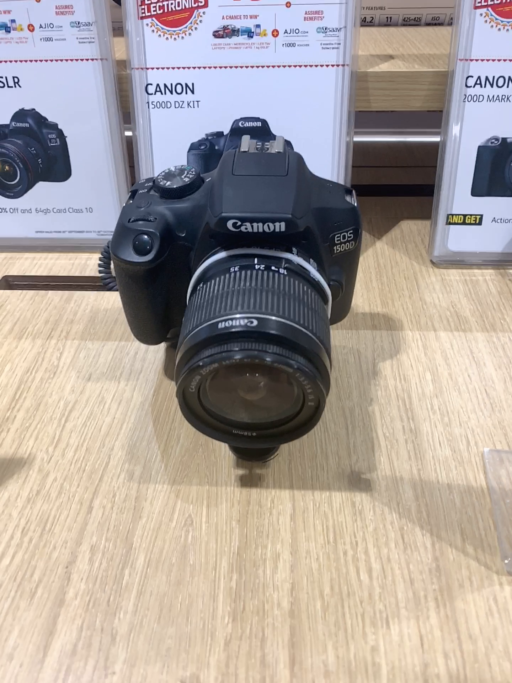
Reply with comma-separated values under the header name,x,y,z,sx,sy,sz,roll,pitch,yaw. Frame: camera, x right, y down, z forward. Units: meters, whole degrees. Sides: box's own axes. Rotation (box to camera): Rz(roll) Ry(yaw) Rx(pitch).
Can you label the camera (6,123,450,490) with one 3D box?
name,x,y,z,sx,sy,sz,roll,pitch,yaw
camera,-0.006,-0.026,0.258,0.140,0.100,0.161,0,42,3
